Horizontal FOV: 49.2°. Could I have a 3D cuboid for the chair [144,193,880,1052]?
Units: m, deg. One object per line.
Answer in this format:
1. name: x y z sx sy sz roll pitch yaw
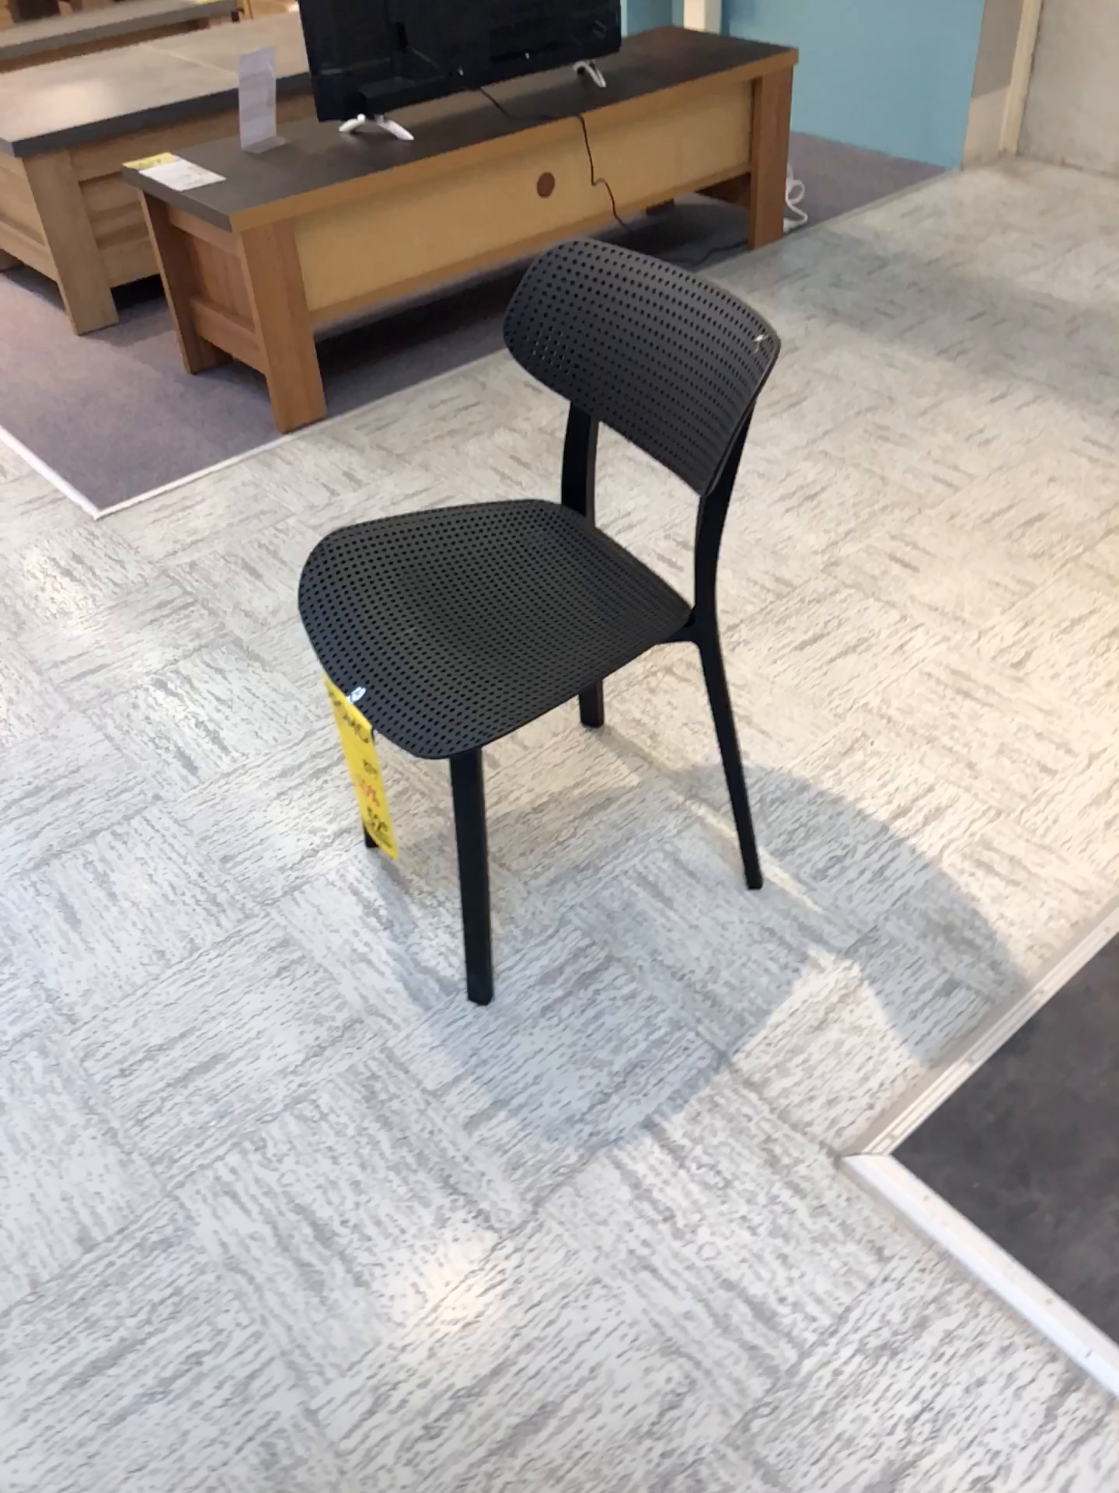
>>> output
1. chair: -0.052 -0.162 1.419 0.522 0.686 0.541 -24 45 -22
